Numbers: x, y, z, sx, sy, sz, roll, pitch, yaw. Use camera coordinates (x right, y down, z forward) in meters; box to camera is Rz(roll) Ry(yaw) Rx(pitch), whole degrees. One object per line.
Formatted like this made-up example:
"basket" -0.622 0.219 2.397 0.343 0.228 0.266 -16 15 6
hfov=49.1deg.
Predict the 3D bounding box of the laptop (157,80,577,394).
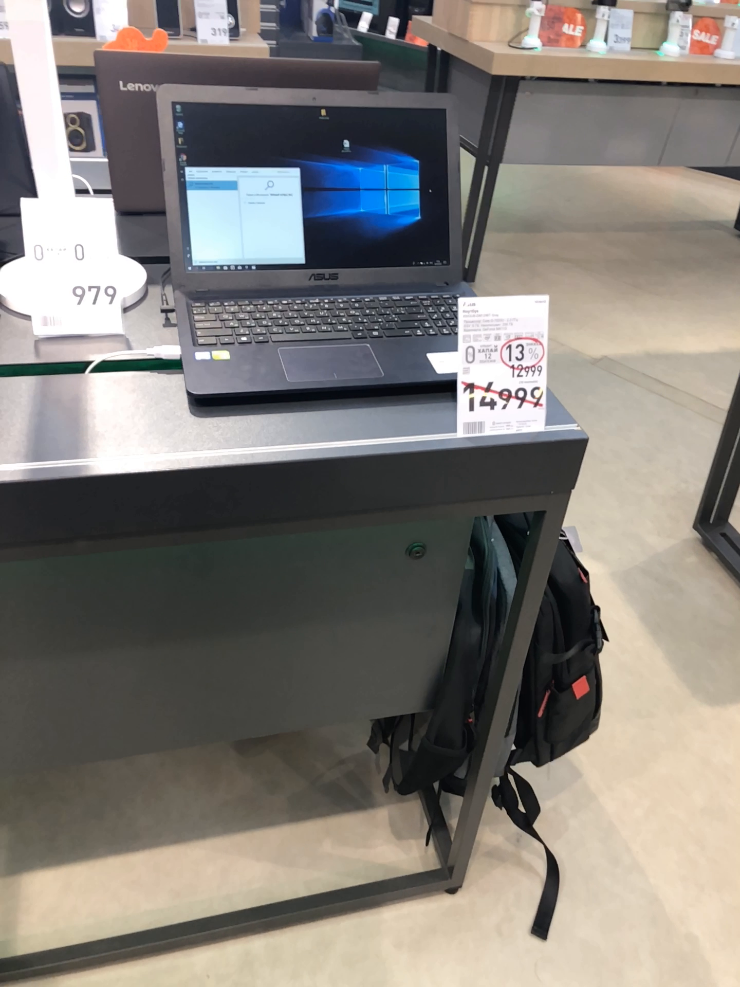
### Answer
"laptop" -0.036 -0.316 0.943 0.380 0.209 0.371 -5 39 -13
